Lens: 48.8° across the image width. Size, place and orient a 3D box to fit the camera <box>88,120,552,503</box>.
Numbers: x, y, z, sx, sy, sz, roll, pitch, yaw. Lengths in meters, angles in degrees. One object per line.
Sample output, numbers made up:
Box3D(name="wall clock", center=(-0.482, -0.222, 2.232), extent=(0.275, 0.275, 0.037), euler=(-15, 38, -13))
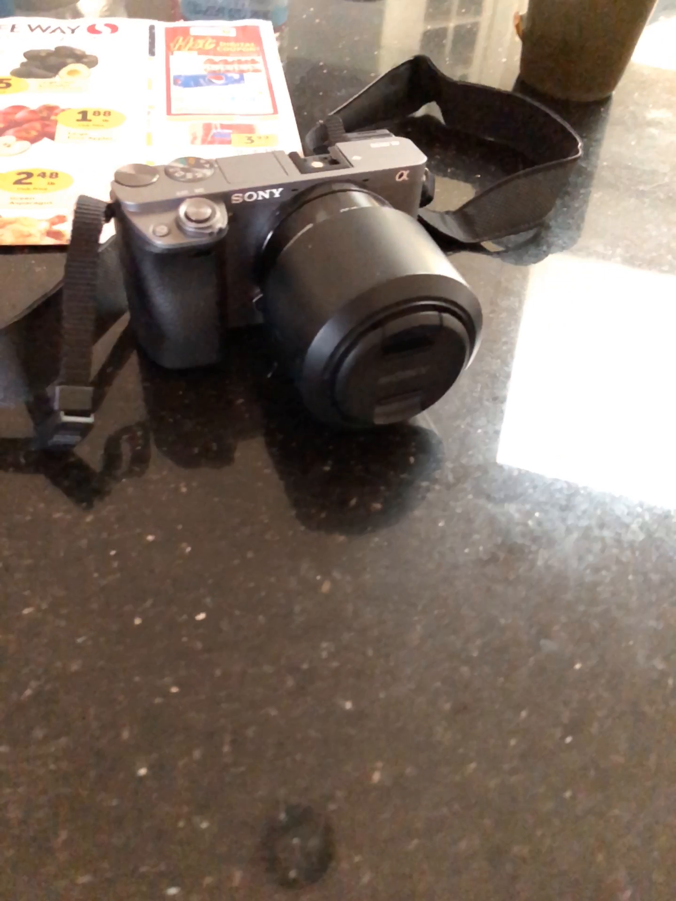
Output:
Box3D(name="camera", center=(-0.013, -0.060, 0.284), extent=(0.130, 0.070, 0.110), euler=(-14, 52, -17))
